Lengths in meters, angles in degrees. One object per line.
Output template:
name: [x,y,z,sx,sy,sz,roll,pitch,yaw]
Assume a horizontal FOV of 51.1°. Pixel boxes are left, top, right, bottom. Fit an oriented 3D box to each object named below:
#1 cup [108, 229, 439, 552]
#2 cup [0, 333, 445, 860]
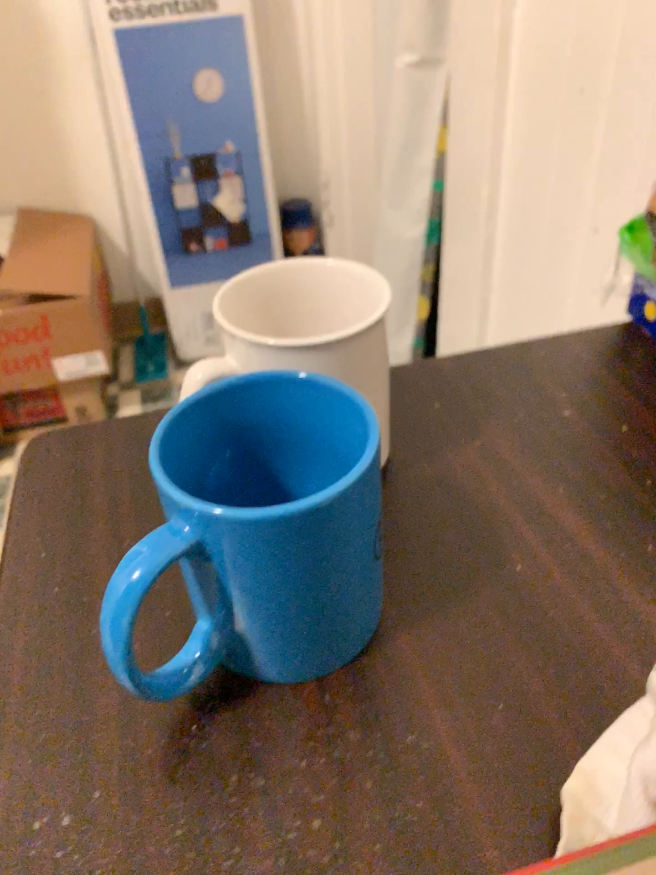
cup: [-0.023,-0.029,0.335,0.120,0.089,0.090,-24,43,-22]
cup: [-0.037,0.047,0.257,0.090,0.099,0.140,29,50,34]
